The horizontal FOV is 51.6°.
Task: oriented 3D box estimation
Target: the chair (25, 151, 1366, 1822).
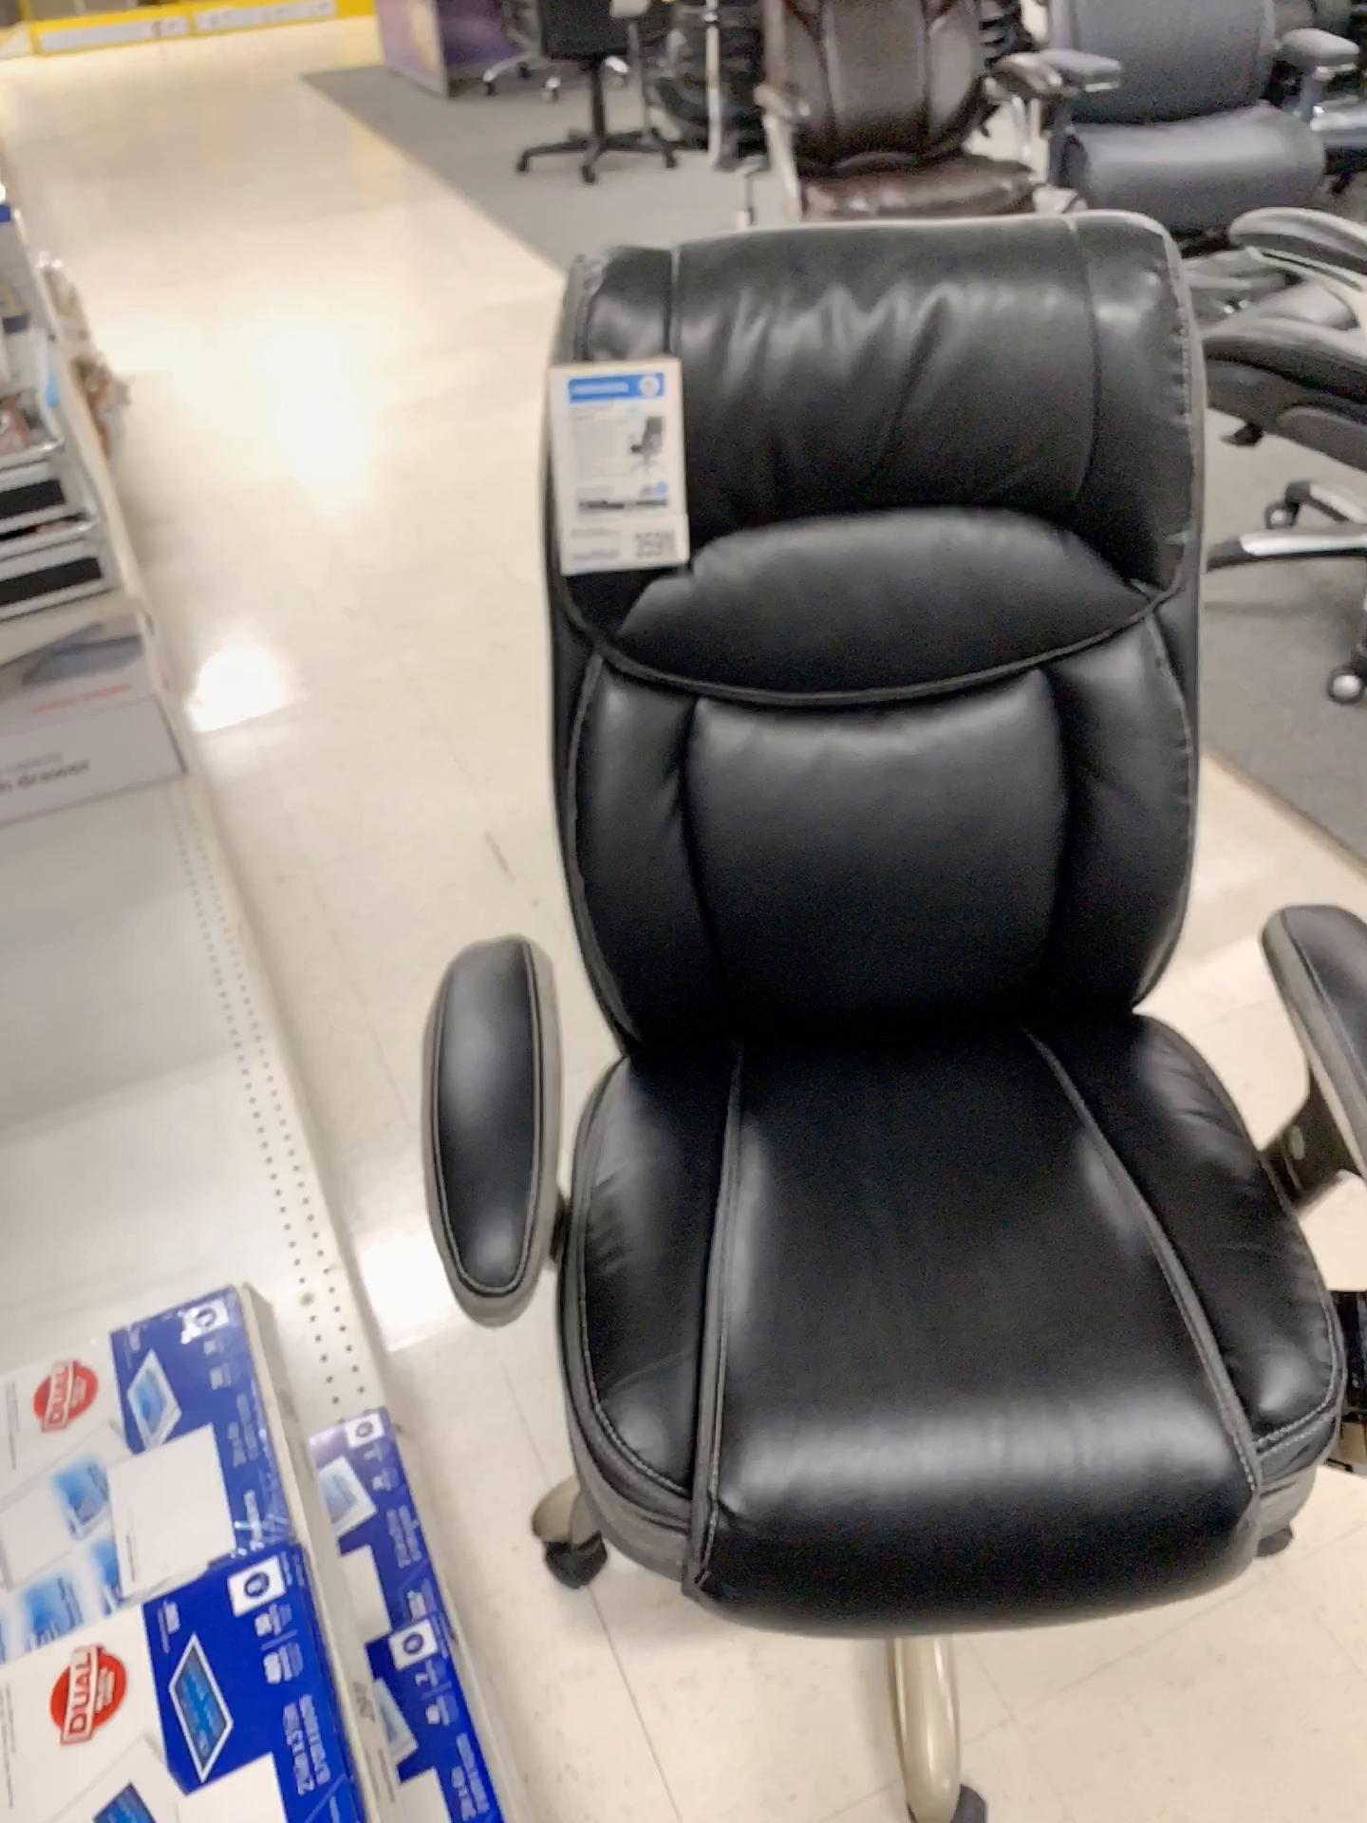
[{"bbox_3d":[0.163,0.137,1.085,0.740,1.094,0.744,-5,40,-1],"label":"chair"}]
